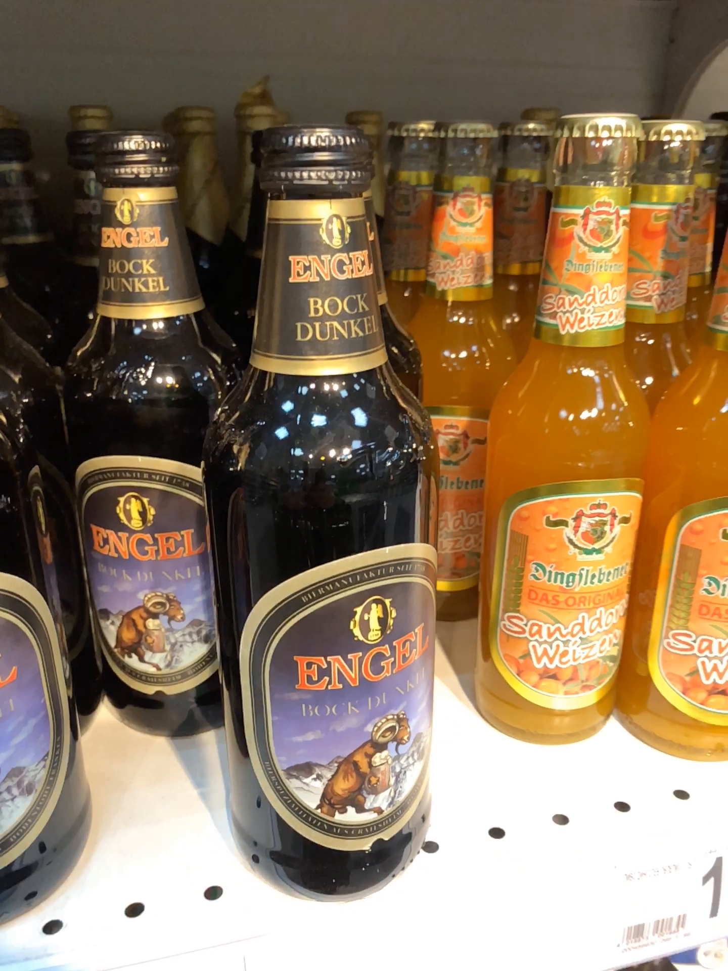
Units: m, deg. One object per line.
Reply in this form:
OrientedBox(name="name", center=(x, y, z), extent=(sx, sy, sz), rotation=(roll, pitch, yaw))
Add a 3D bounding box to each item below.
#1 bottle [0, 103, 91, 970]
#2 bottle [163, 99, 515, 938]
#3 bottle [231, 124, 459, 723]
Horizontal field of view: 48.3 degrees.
OrientedBox(name="bottle", center=(-0.131, 0.021, 0.233), extent=(0.070, 0.233, 0.061), rotation=(-7, 23, -18))
OrientedBox(name="bottle", center=(-0.010, 0.015, 0.240), extent=(0.070, 0.229, 0.061), rotation=(-8, 23, -19))
OrientedBox(name="bottle", center=(-0.011, -0.024, 0.342), extent=(0.069, 0.233, 0.070), rotation=(0, 22, 0))
